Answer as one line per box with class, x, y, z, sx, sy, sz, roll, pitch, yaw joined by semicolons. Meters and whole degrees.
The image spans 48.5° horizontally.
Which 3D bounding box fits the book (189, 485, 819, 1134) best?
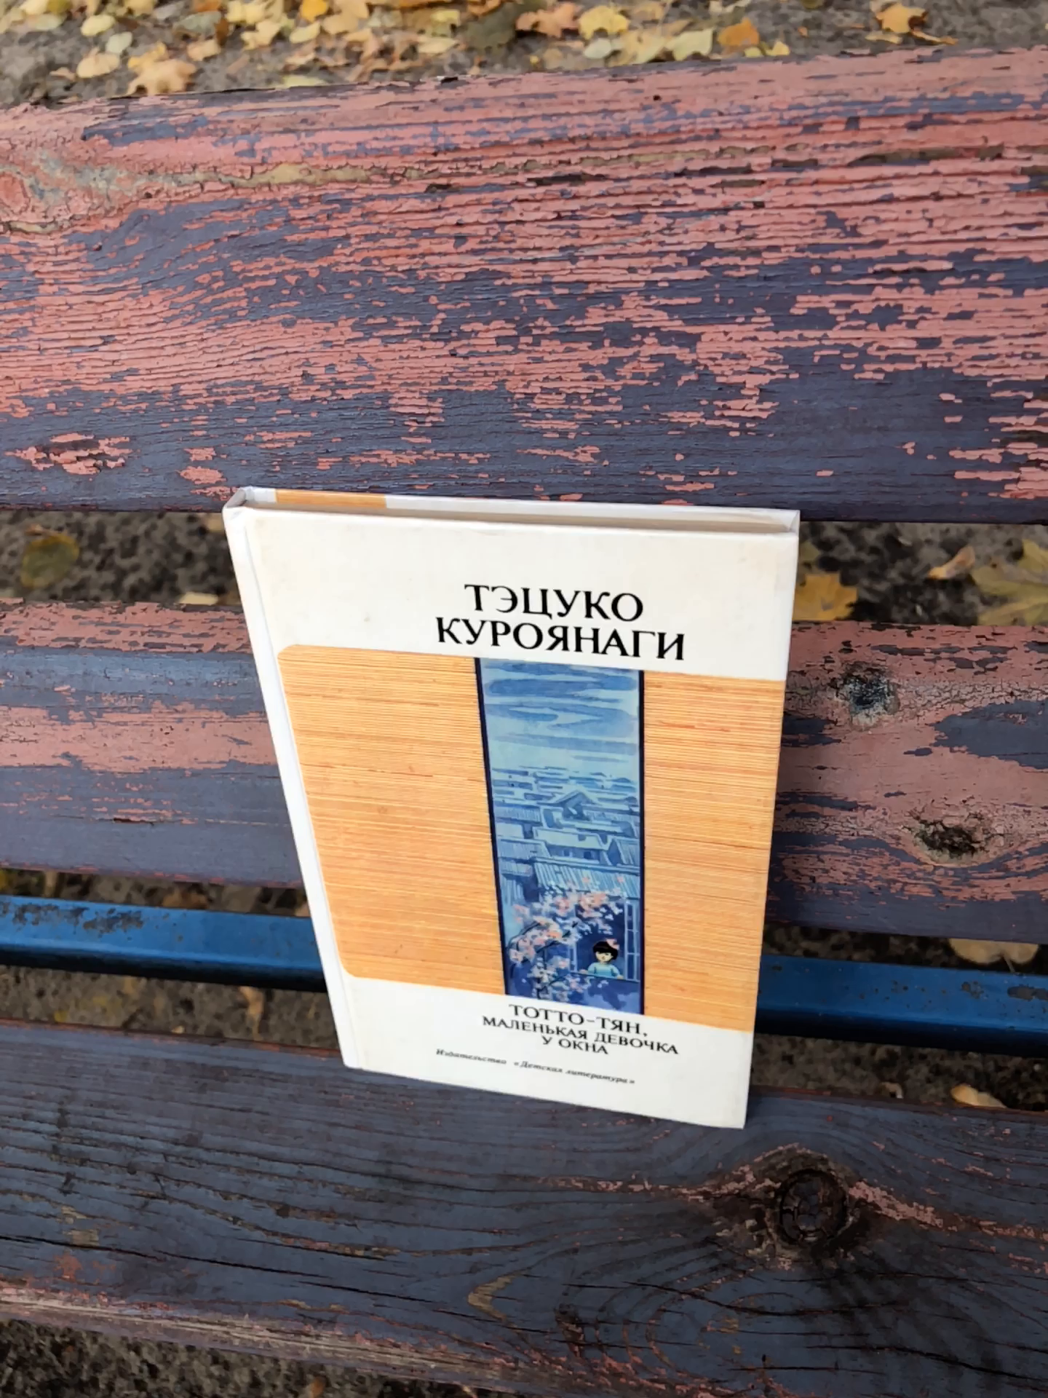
book;-0.003;0.041;0.307;0.134;0.198;0.016;4;36;8
